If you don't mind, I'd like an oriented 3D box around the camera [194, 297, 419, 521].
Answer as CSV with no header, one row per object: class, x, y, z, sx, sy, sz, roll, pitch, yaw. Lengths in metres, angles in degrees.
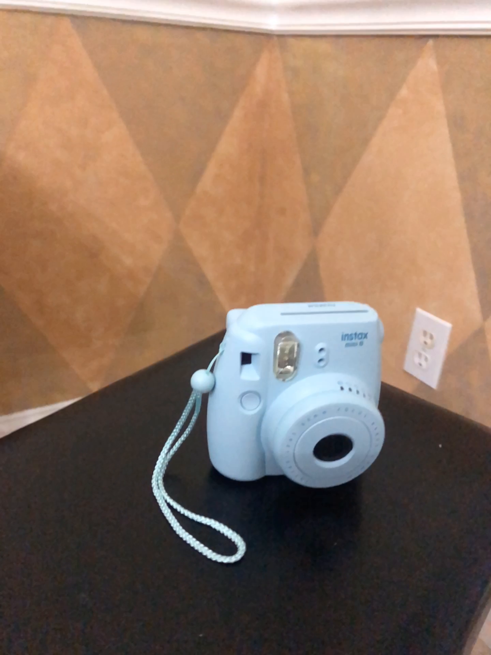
camera,0.030,0.050,0.354,0.120,0.118,0.068,-2,26,-11
